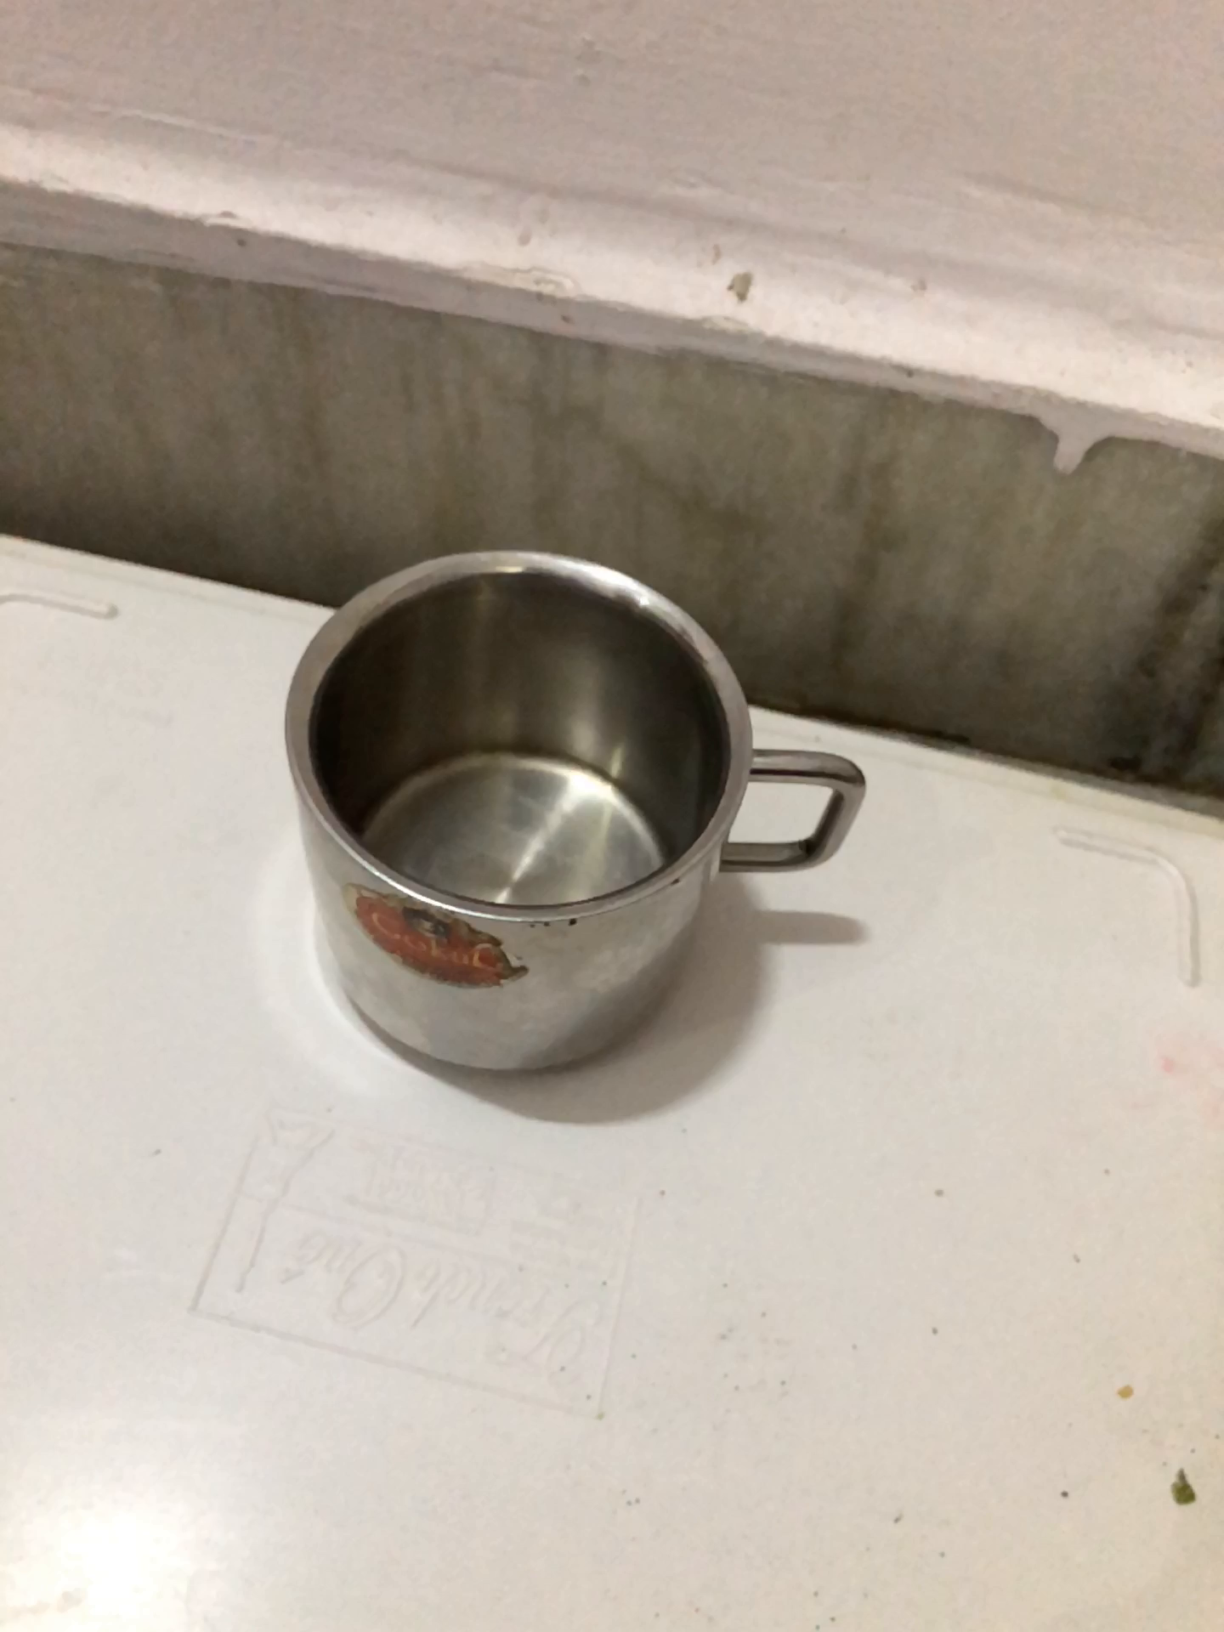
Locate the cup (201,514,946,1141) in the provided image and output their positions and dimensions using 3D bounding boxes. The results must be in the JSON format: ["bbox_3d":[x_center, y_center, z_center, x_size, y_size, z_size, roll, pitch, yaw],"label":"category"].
[{"bbox_3d":[-0.005,0.002,0.227,0.100,0.050,0.080,6,54,-4],"label":"cup"}]
